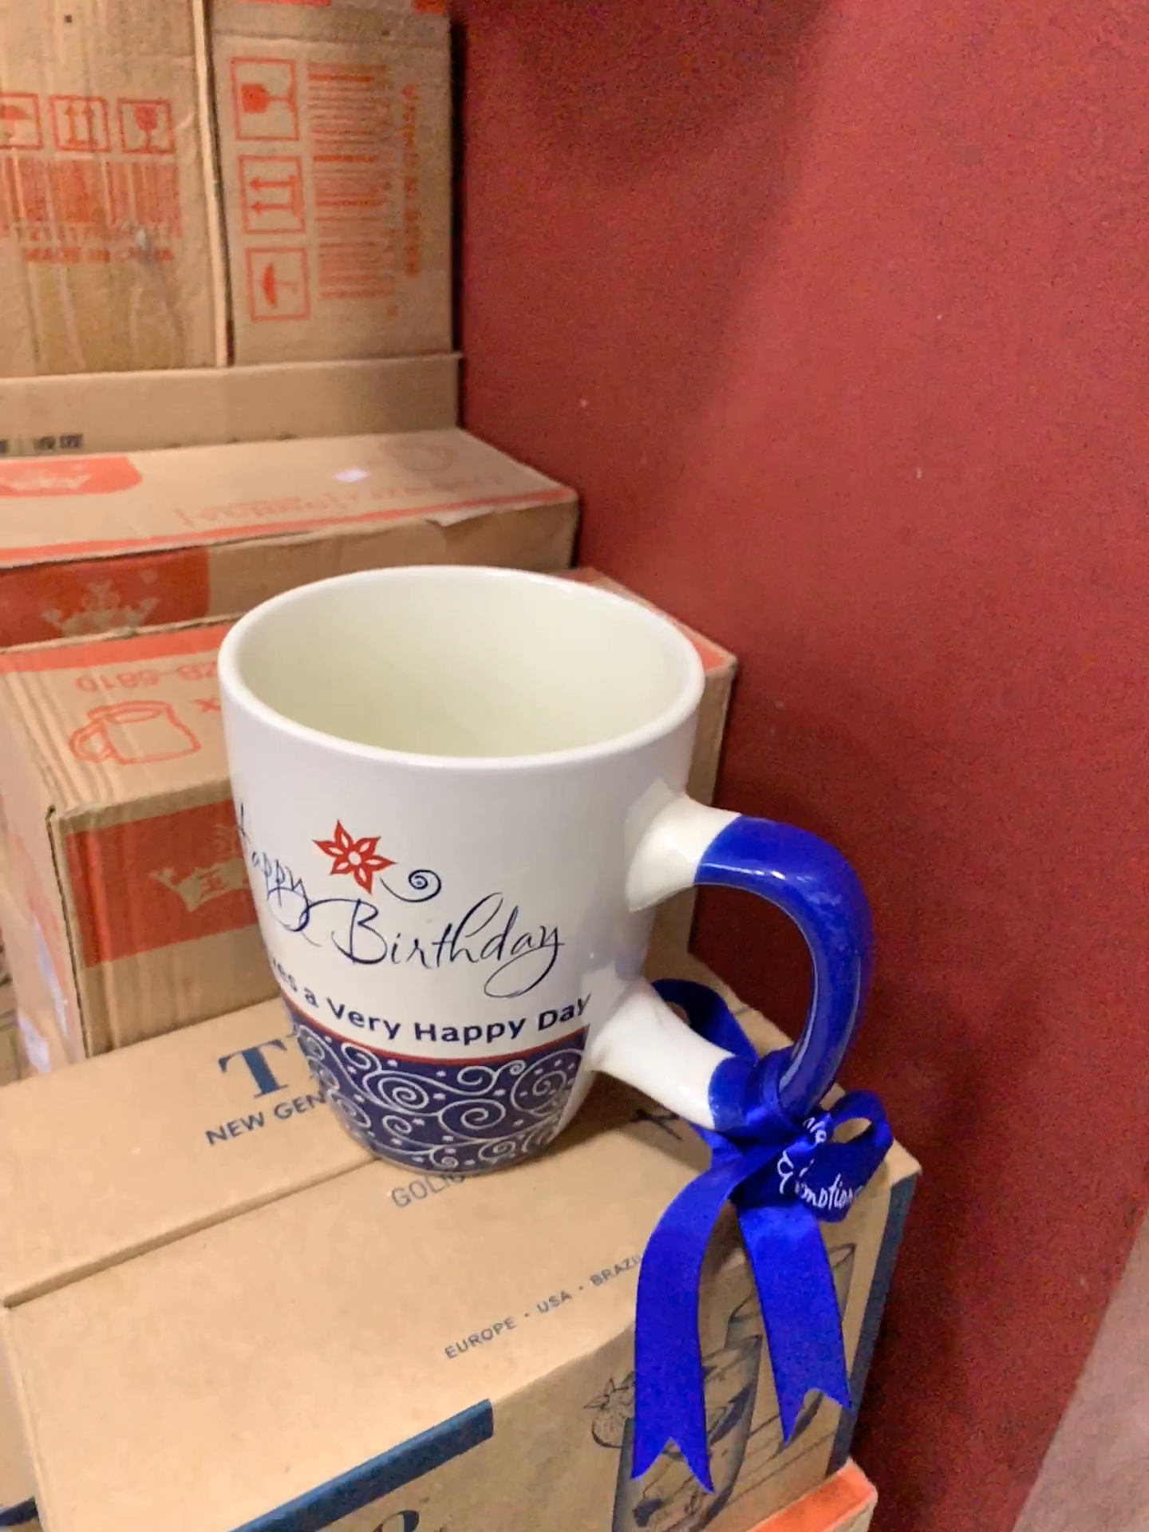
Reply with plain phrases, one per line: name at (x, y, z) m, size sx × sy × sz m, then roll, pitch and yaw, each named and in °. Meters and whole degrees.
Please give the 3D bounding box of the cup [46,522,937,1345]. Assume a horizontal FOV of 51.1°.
cup at (-0.014, 0.019, 0.237) m, size 0.131 × 0.086 × 0.092 m, roll 18°, pitch 32°, yaw 24°
